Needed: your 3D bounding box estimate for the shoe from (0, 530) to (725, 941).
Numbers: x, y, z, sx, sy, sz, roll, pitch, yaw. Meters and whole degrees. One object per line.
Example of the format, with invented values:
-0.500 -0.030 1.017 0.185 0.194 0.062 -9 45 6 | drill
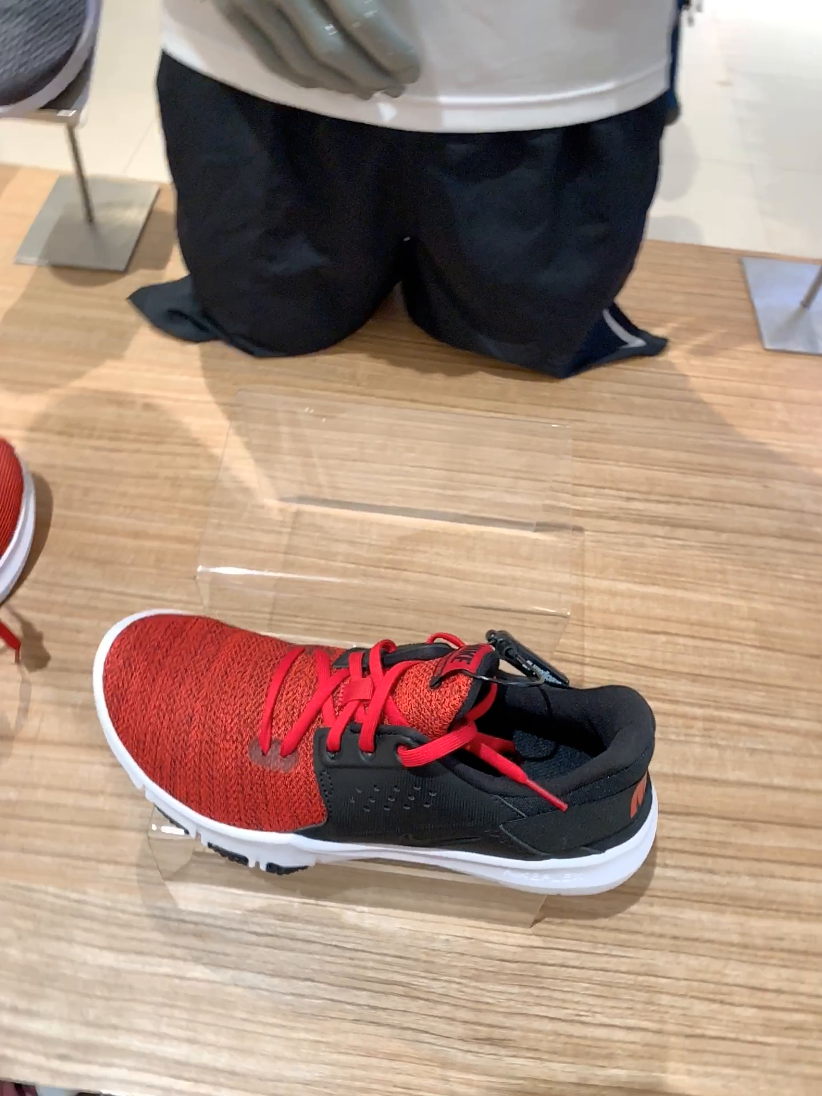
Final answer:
-0.023 0.082 0.379 0.290 0.080 0.111 9 54 2 | shoe
